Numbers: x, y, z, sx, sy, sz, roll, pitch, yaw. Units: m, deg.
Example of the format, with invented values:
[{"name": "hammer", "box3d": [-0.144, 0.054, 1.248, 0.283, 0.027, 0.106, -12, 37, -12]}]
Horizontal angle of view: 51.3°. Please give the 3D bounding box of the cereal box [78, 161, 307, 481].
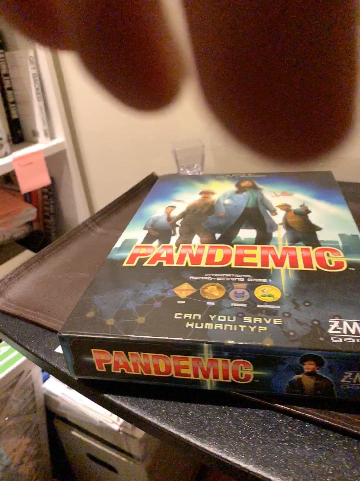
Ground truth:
[{"name": "cereal box", "box3d": [0.043, 0.331, 1.252, 0.470, 0.994, 0.513, -15, 30, -14]}]
